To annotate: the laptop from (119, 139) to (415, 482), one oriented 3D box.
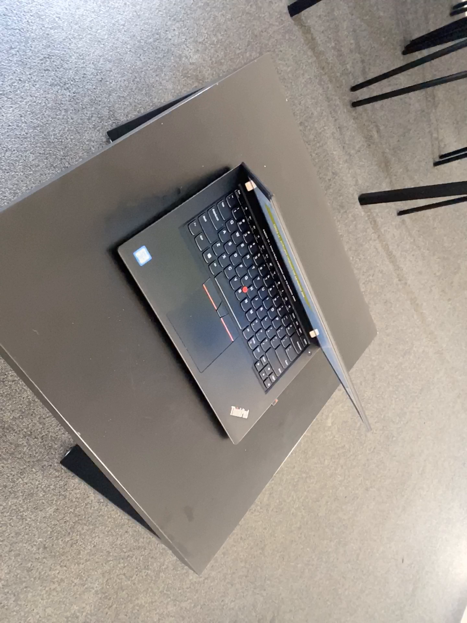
[{"bbox_3d":[0.063,0.000,0.616,0.224,0.165,0.333,-43,120,-29],"label":"laptop"}]
